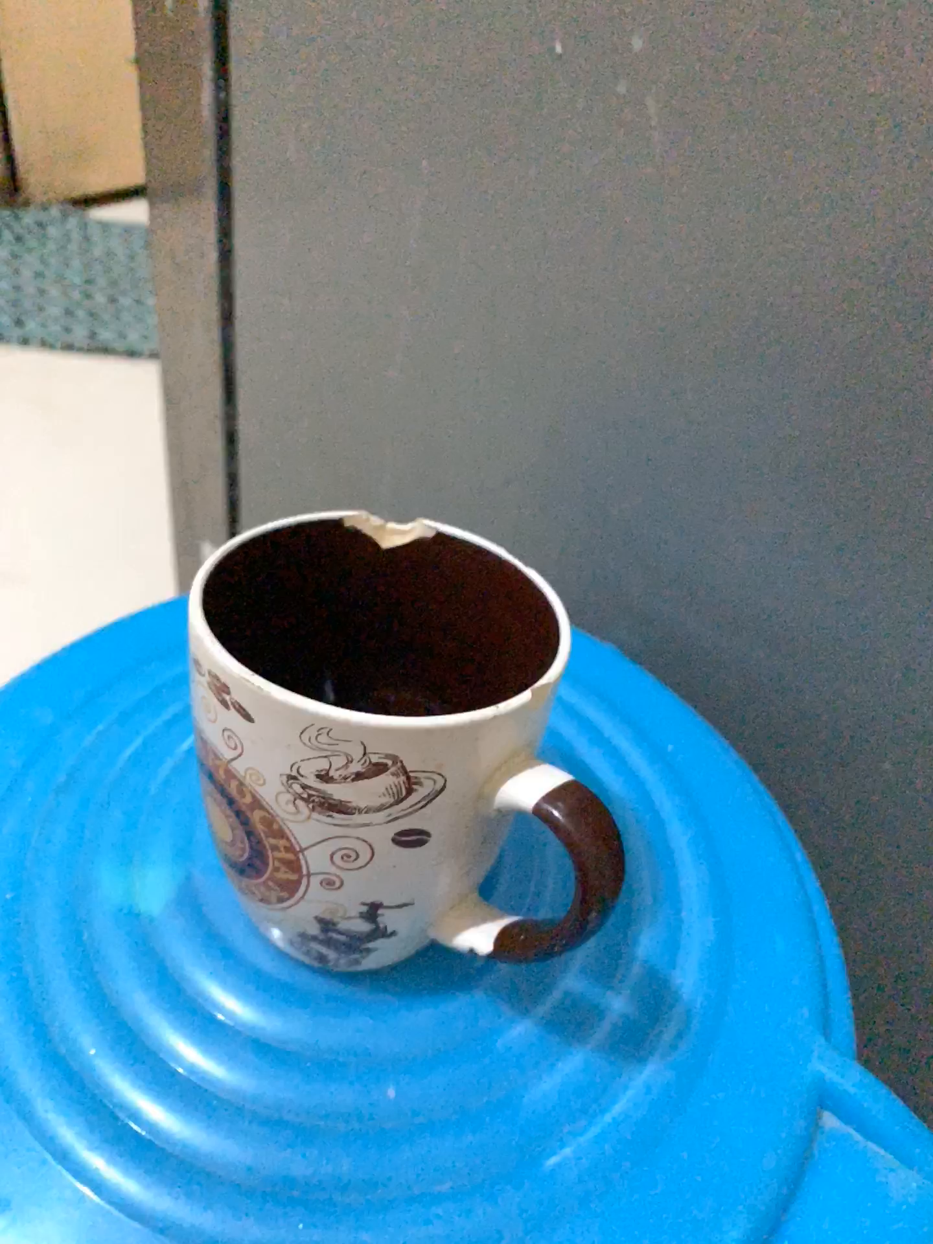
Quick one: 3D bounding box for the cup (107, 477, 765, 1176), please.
[{"bbox_3d":[-0.011,0.036,0.215,0.110,0.082,0.071,29,38,25],"label":"cup"}]
